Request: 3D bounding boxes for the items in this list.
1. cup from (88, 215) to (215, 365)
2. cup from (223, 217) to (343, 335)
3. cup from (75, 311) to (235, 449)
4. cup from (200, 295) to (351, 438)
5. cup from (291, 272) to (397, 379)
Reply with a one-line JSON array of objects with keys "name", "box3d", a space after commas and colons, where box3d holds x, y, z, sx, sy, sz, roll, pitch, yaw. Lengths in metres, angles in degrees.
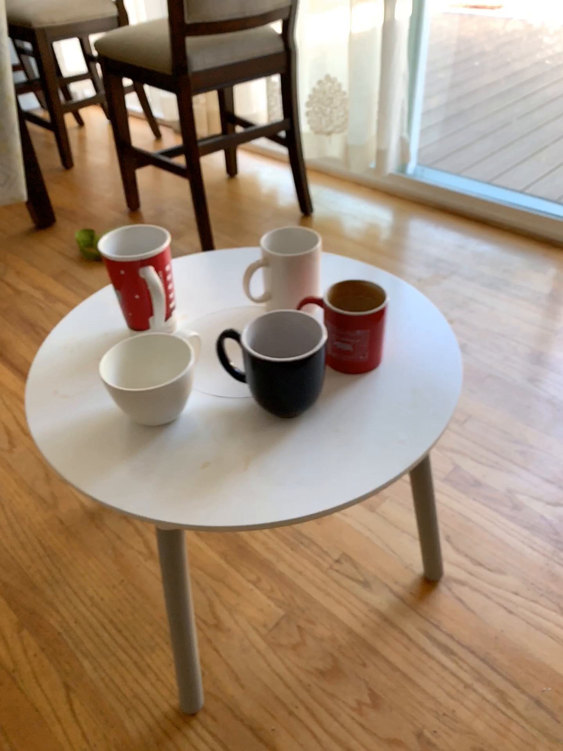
[{"name": "cup", "box3d": [-0.171, -0.116, 0.777, 0.100, 0.129, 0.131, -25, 46, -24]}, {"name": "cup", "box3d": [0.003, -0.138, 0.793, 0.120, 0.090, 0.100, -29, 47, -27]}, {"name": "cup", "box3d": [-0.139, 0.000, 0.665, 0.110, 0.060, 0.130, 25, 48, 28]}, {"name": "cup", "box3d": [-0.005, -0.014, 0.658, 0.130, 0.080, 0.100, 24, 47, 27]}, {"name": "cup", "box3d": [0.077, -0.063, 0.728, 0.120, 0.100, 0.080, 3, 41, 7]}]
